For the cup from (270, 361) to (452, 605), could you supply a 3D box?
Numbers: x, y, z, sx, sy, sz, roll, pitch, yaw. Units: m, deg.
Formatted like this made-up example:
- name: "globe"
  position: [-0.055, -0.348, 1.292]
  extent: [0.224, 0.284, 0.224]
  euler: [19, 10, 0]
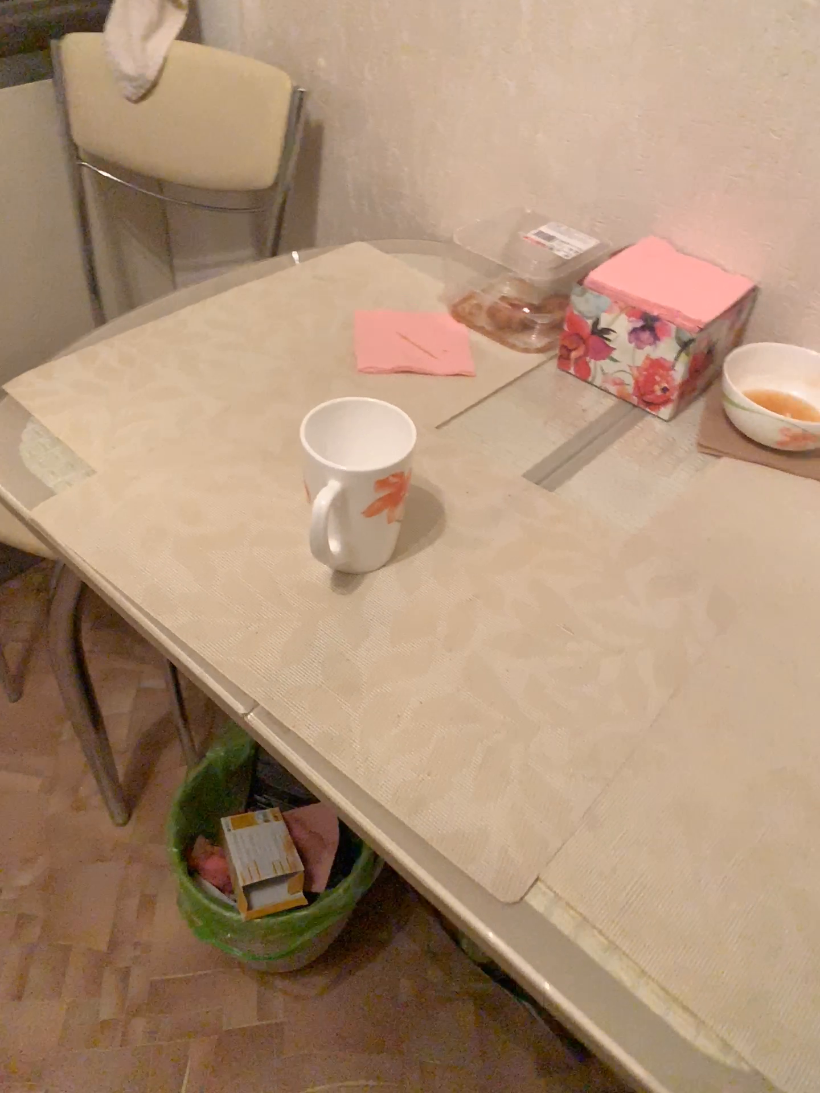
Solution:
- name: "cup"
  position: [-0.030, -0.046, 0.575]
  extent: [0.083, 0.099, 0.119]
  euler: [14, 45, 9]
